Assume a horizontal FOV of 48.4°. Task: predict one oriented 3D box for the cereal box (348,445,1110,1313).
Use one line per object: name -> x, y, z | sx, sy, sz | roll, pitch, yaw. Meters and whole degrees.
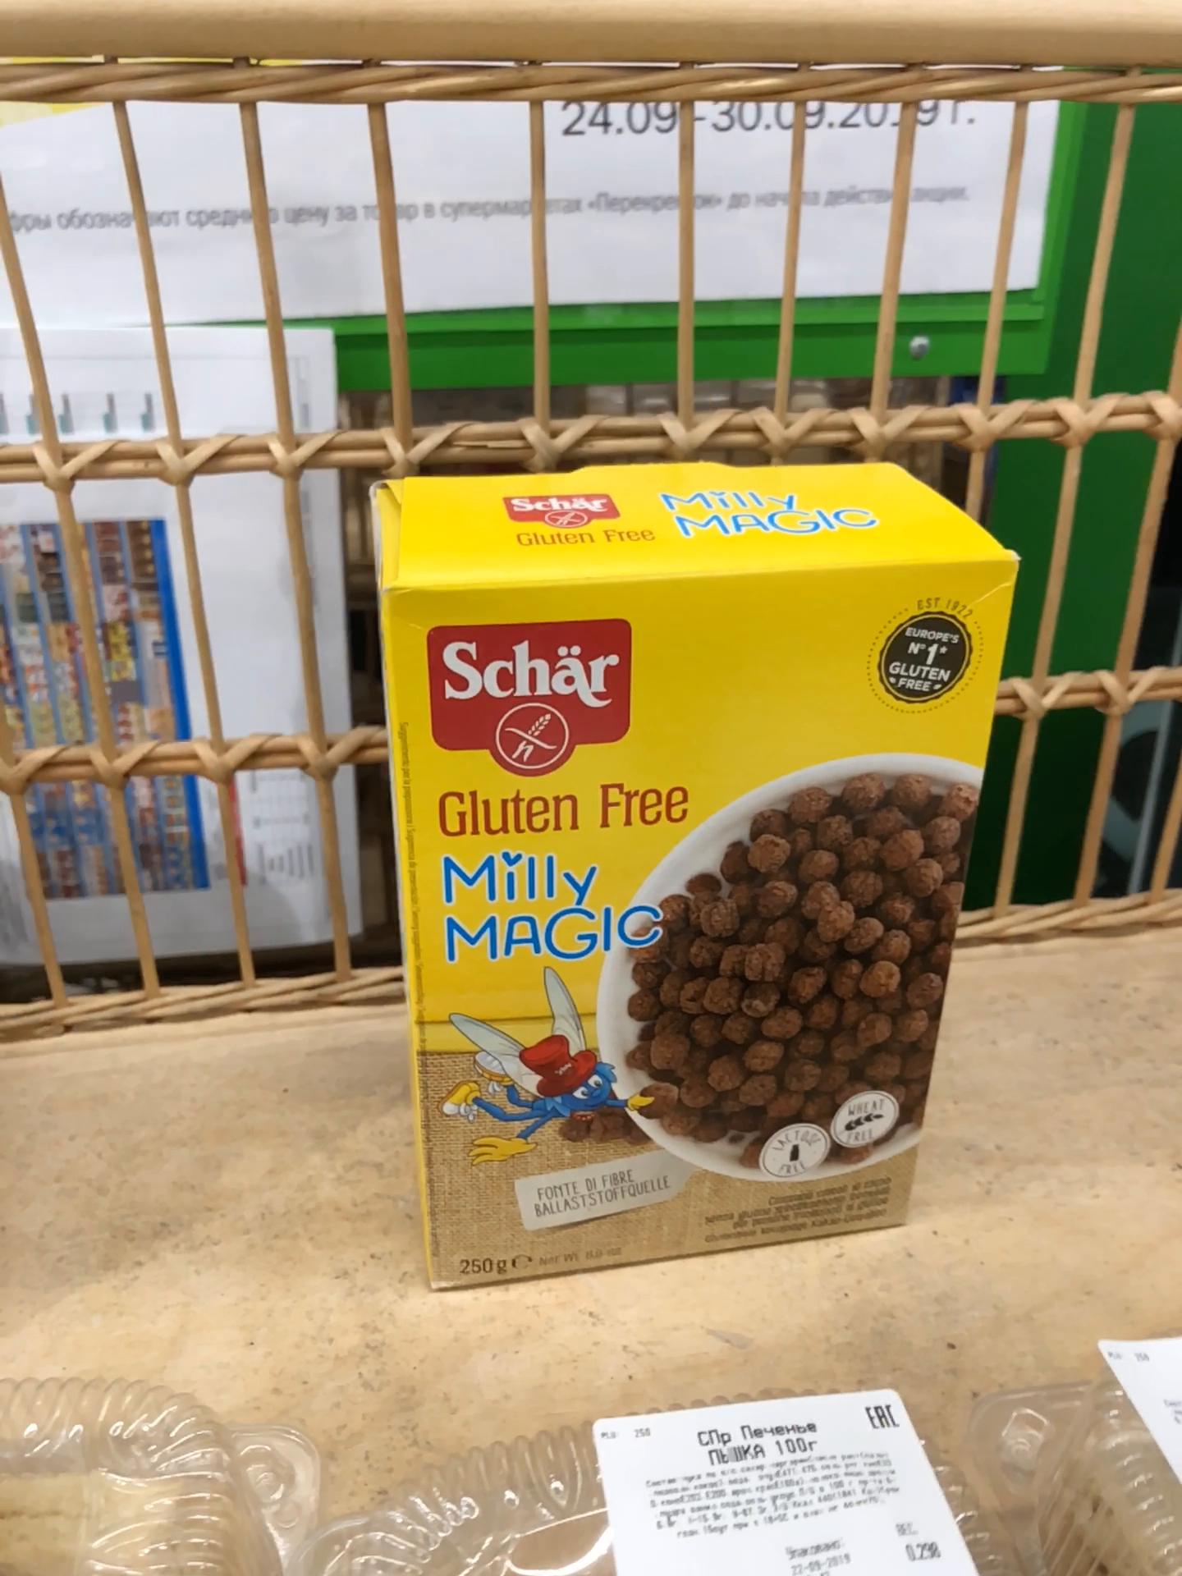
cereal box -> 0.025, 0.026, 0.353 | 0.160, 0.209, 0.080 | -4, 29, -8
